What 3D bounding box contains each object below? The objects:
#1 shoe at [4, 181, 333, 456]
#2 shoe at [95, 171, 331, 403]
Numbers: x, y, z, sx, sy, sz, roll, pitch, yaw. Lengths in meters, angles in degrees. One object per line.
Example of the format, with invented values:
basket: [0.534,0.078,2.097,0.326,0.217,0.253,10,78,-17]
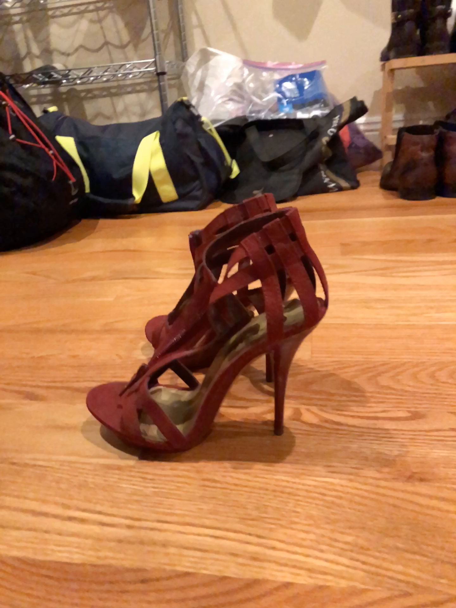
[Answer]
shoe: [-0.029,0.010,0.376,0.206,0.175,0.085,-1,22,10]
shoe: [-0.013,-0.029,0.478,0.199,0.175,0.085,11,27,35]
